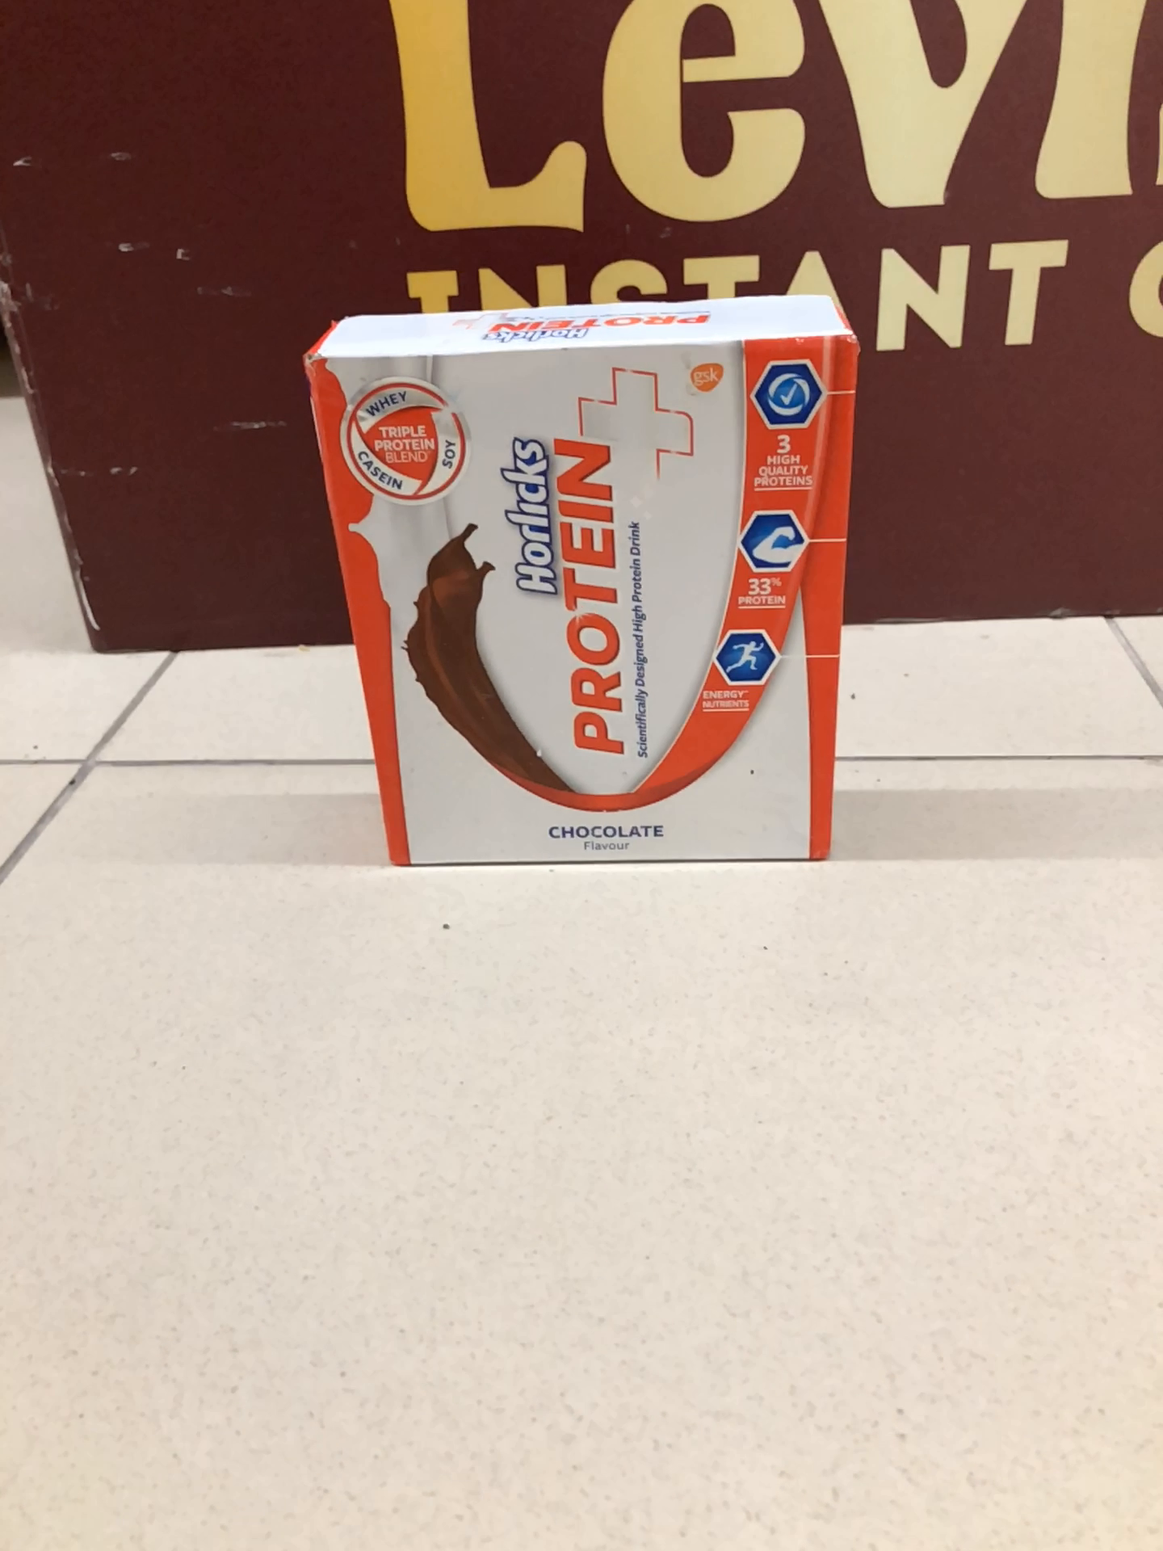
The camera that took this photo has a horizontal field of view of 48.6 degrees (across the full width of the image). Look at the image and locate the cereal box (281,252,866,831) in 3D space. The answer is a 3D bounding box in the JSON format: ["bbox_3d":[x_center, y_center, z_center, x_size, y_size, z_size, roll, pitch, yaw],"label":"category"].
[{"bbox_3d":[0.002,-0.062,0.366,0.140,0.149,0.050,-1,30,4],"label":"cereal box"}]
